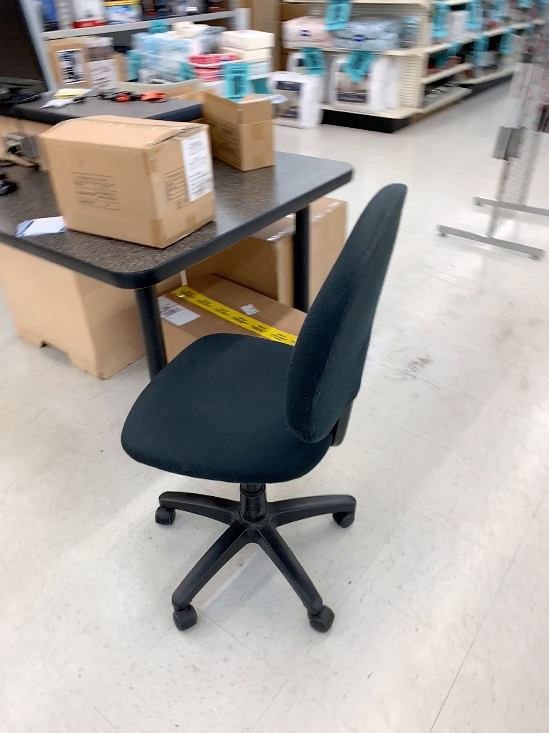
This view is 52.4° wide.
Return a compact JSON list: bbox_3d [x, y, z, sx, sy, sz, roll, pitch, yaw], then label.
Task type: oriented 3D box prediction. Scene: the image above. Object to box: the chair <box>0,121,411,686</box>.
[{"bbox_3d":[-0.102,0.062,1.215,0.600,0.965,0.603,10,37,16],"label":"chair"}]
